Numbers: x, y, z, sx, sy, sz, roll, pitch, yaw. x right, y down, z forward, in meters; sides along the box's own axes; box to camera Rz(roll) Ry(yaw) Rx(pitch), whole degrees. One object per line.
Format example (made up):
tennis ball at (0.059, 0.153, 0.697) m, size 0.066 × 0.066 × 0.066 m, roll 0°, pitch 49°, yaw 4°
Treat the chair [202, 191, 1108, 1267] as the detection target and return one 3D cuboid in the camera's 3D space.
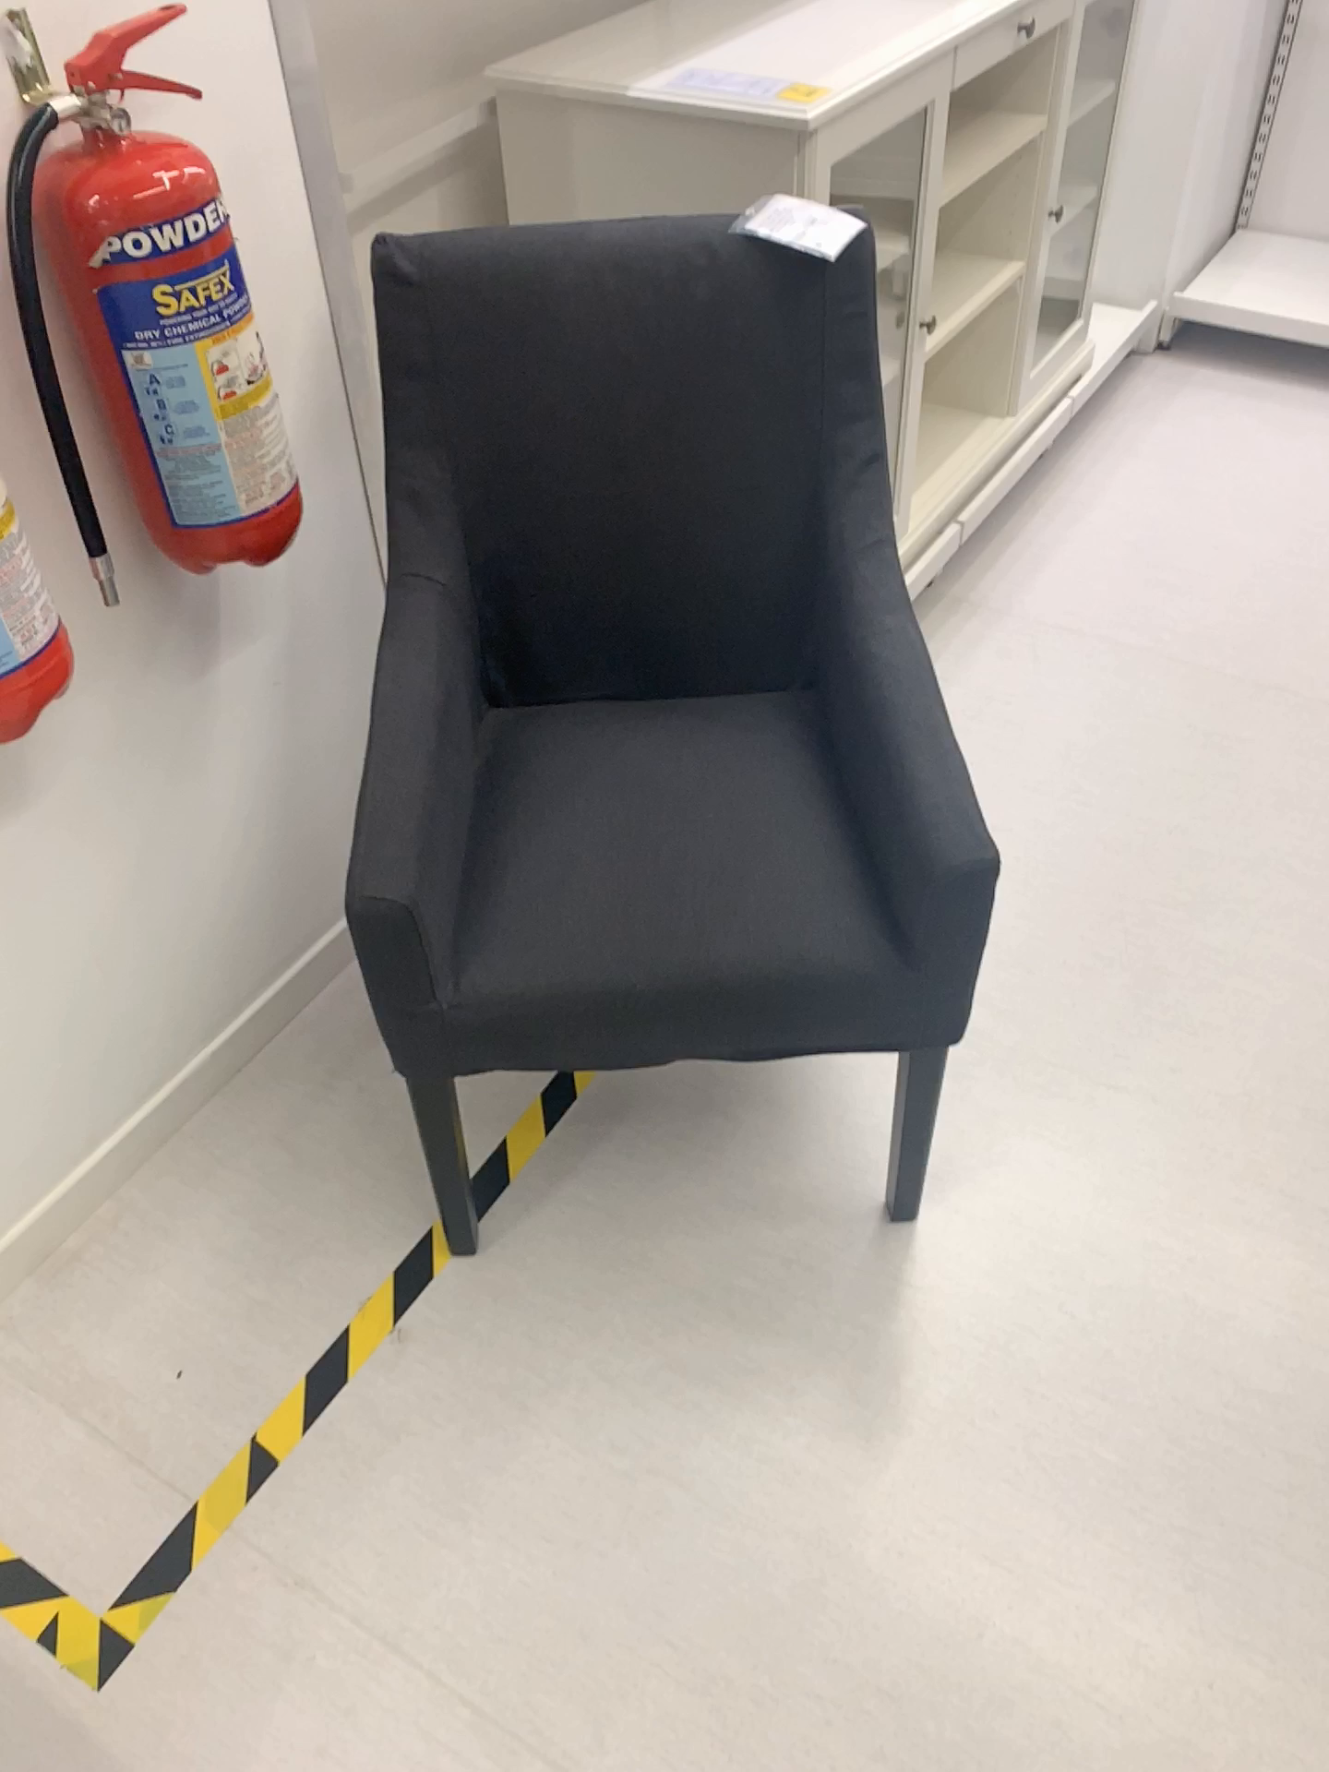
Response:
chair at (-0.005, -0.136, 1.454) m, size 0.610 × 0.916 × 0.633 m, roll -4°, pitch 44°, yaw -1°
